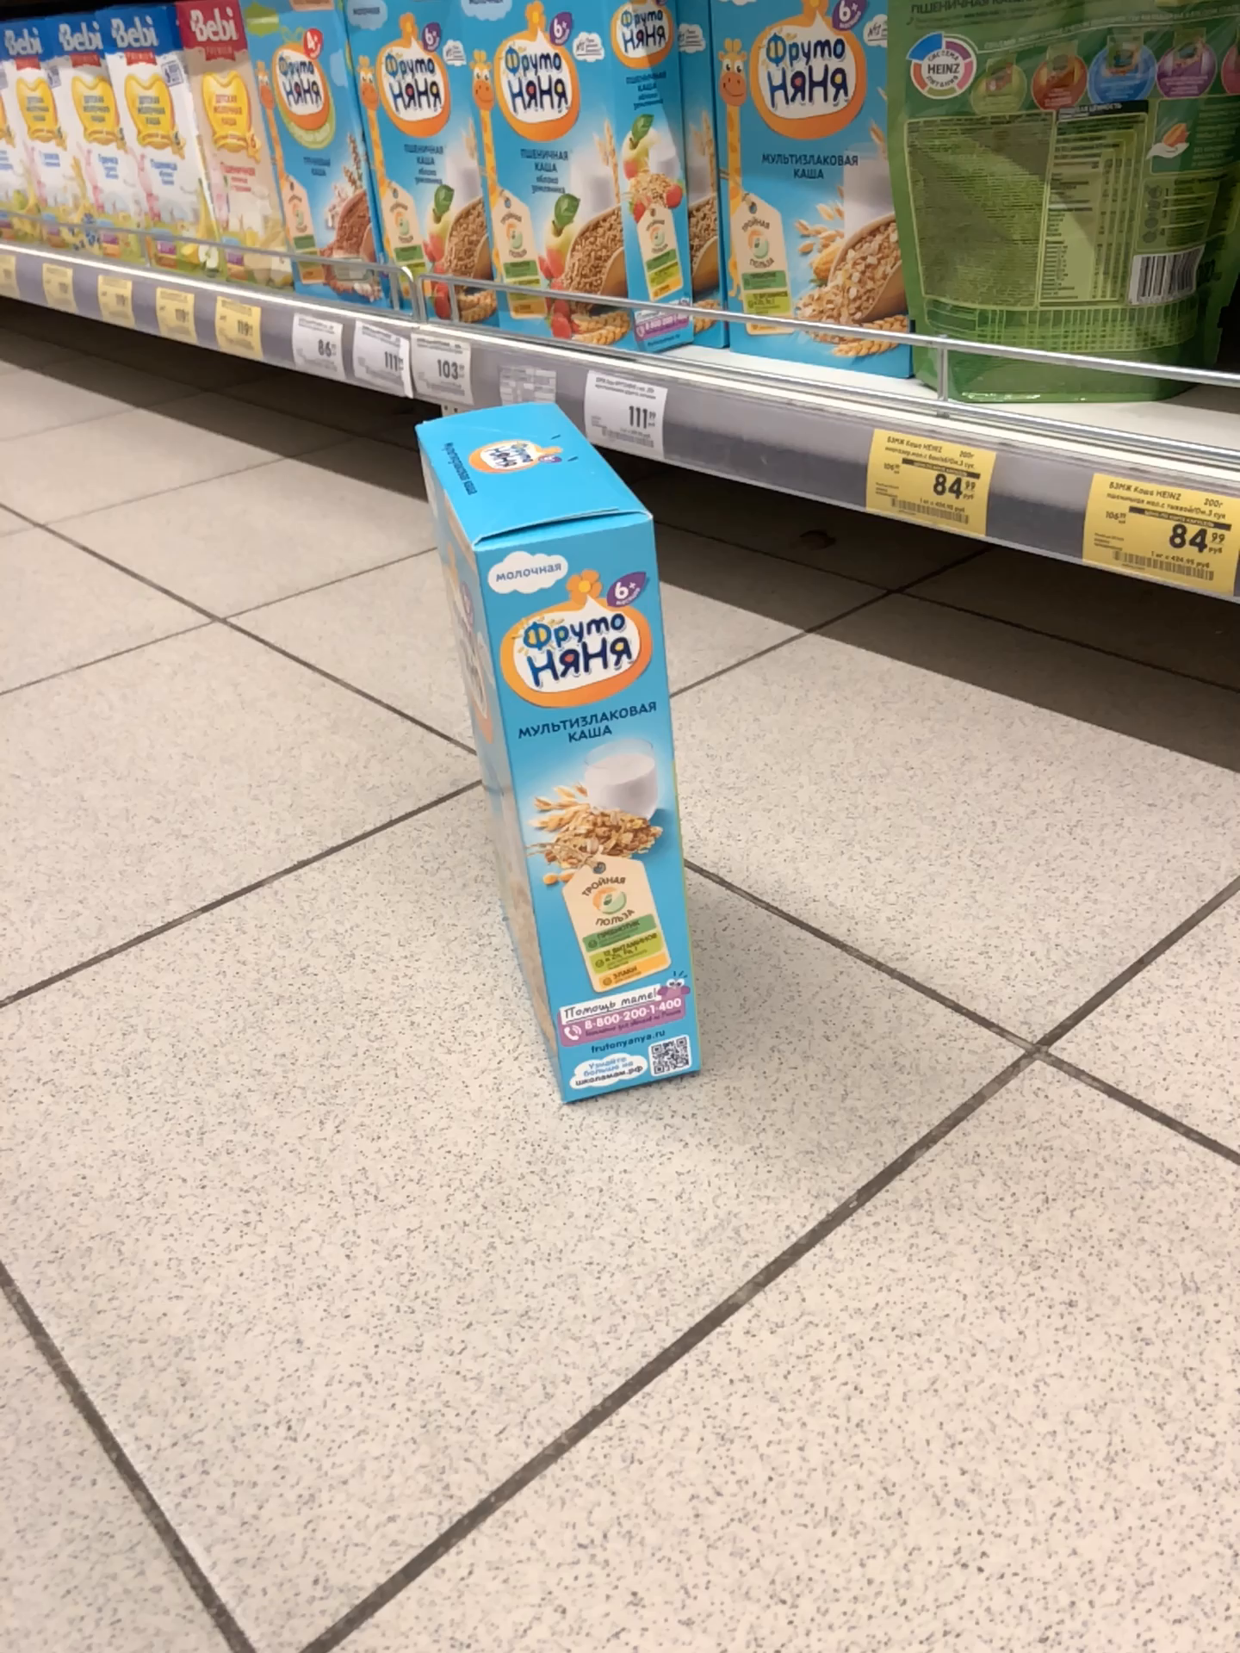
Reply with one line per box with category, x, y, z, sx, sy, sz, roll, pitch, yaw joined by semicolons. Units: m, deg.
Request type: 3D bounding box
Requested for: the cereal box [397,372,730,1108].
cereal box;-0.019;-0.033;0.461;0.060;0.199;0.141;-12;31;-9
